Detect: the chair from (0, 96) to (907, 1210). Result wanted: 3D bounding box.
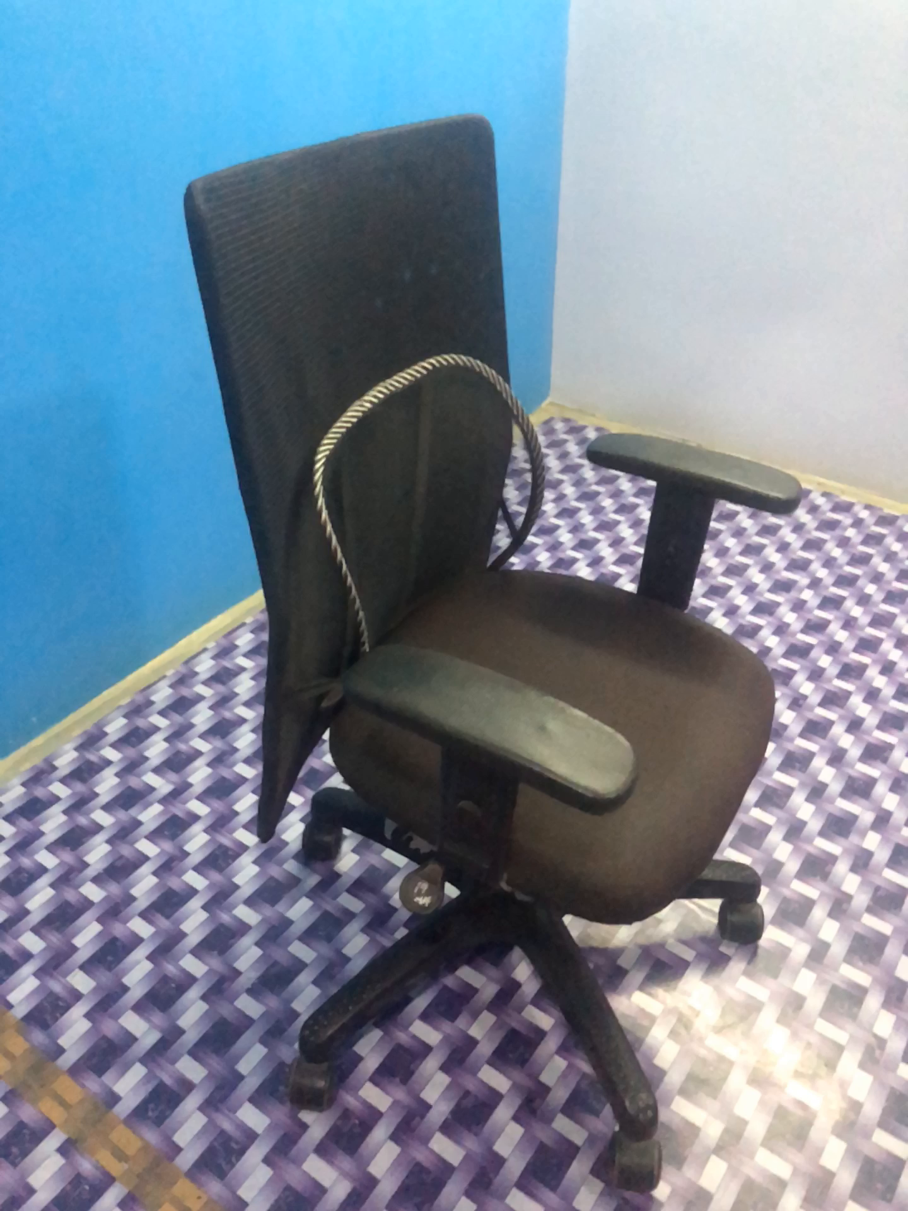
[{"bbox_3d":[0.060,0.032,1.029,0.670,0.885,0.664,16,37,22],"label":"chair"}]
